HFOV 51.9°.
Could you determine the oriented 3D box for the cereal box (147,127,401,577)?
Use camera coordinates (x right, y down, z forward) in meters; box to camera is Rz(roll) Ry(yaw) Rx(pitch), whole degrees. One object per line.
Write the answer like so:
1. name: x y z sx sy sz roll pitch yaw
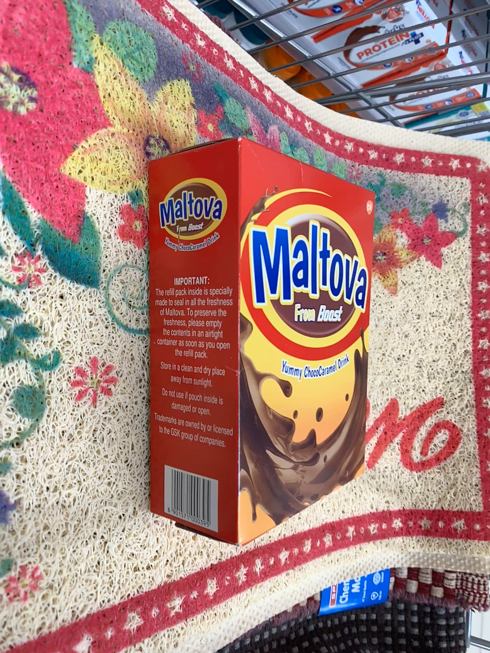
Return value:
1. cereal box: 0.025 0.009 0.263 0.151 0.050 0.170 -2 93 -49
